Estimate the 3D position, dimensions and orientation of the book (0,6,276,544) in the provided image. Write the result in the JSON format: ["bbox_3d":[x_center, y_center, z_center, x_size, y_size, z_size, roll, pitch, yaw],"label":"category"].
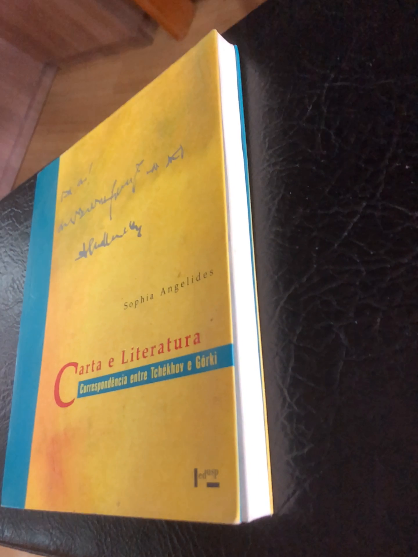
[{"bbox_3d":[-0.053,0.003,0.232,0.173,0.024,0.208,-21,62,40],"label":"book"}]
